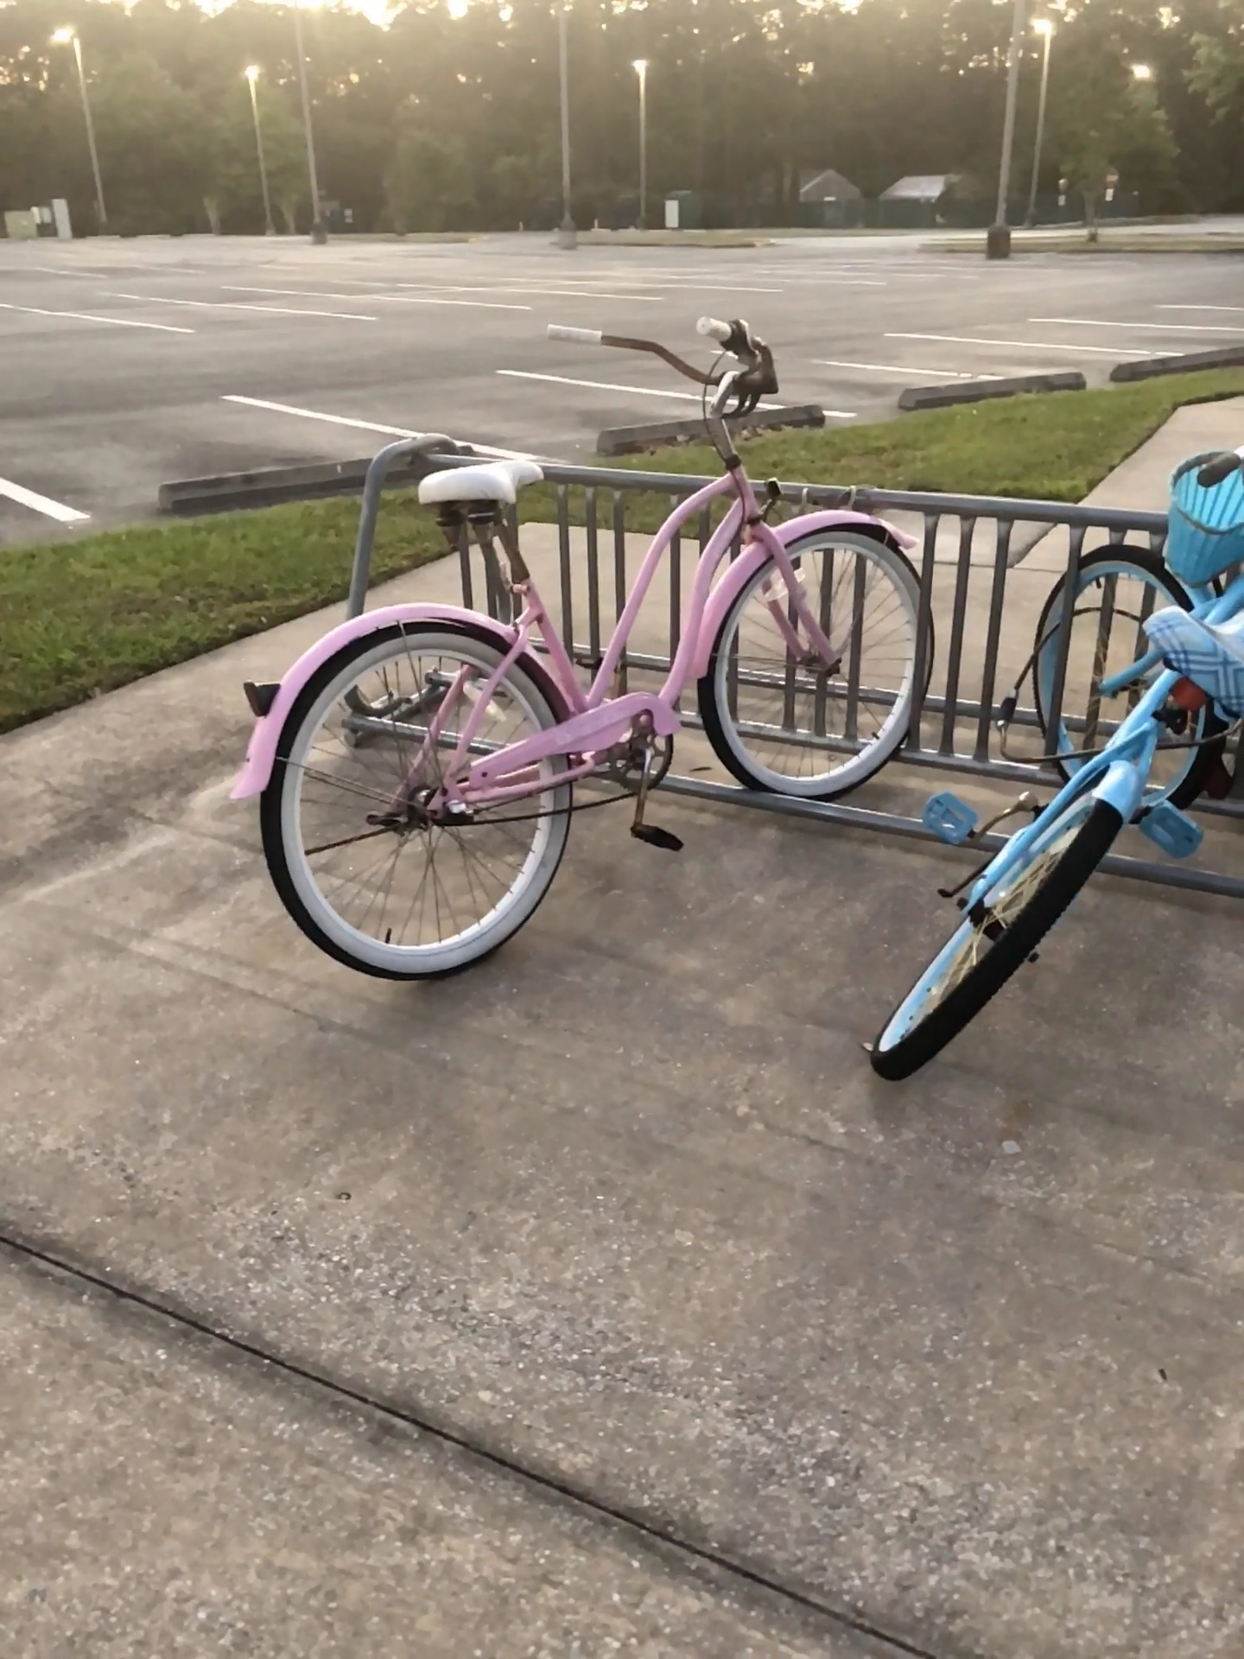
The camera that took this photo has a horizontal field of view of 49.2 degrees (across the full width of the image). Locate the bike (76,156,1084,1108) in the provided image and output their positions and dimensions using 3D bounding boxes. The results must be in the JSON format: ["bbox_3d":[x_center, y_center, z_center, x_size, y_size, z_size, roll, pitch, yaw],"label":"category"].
[{"bbox_3d":[-0.014,-0.539,2.673,1.656,1.116,0.841,-27,34,-33],"label":"bike"}]
